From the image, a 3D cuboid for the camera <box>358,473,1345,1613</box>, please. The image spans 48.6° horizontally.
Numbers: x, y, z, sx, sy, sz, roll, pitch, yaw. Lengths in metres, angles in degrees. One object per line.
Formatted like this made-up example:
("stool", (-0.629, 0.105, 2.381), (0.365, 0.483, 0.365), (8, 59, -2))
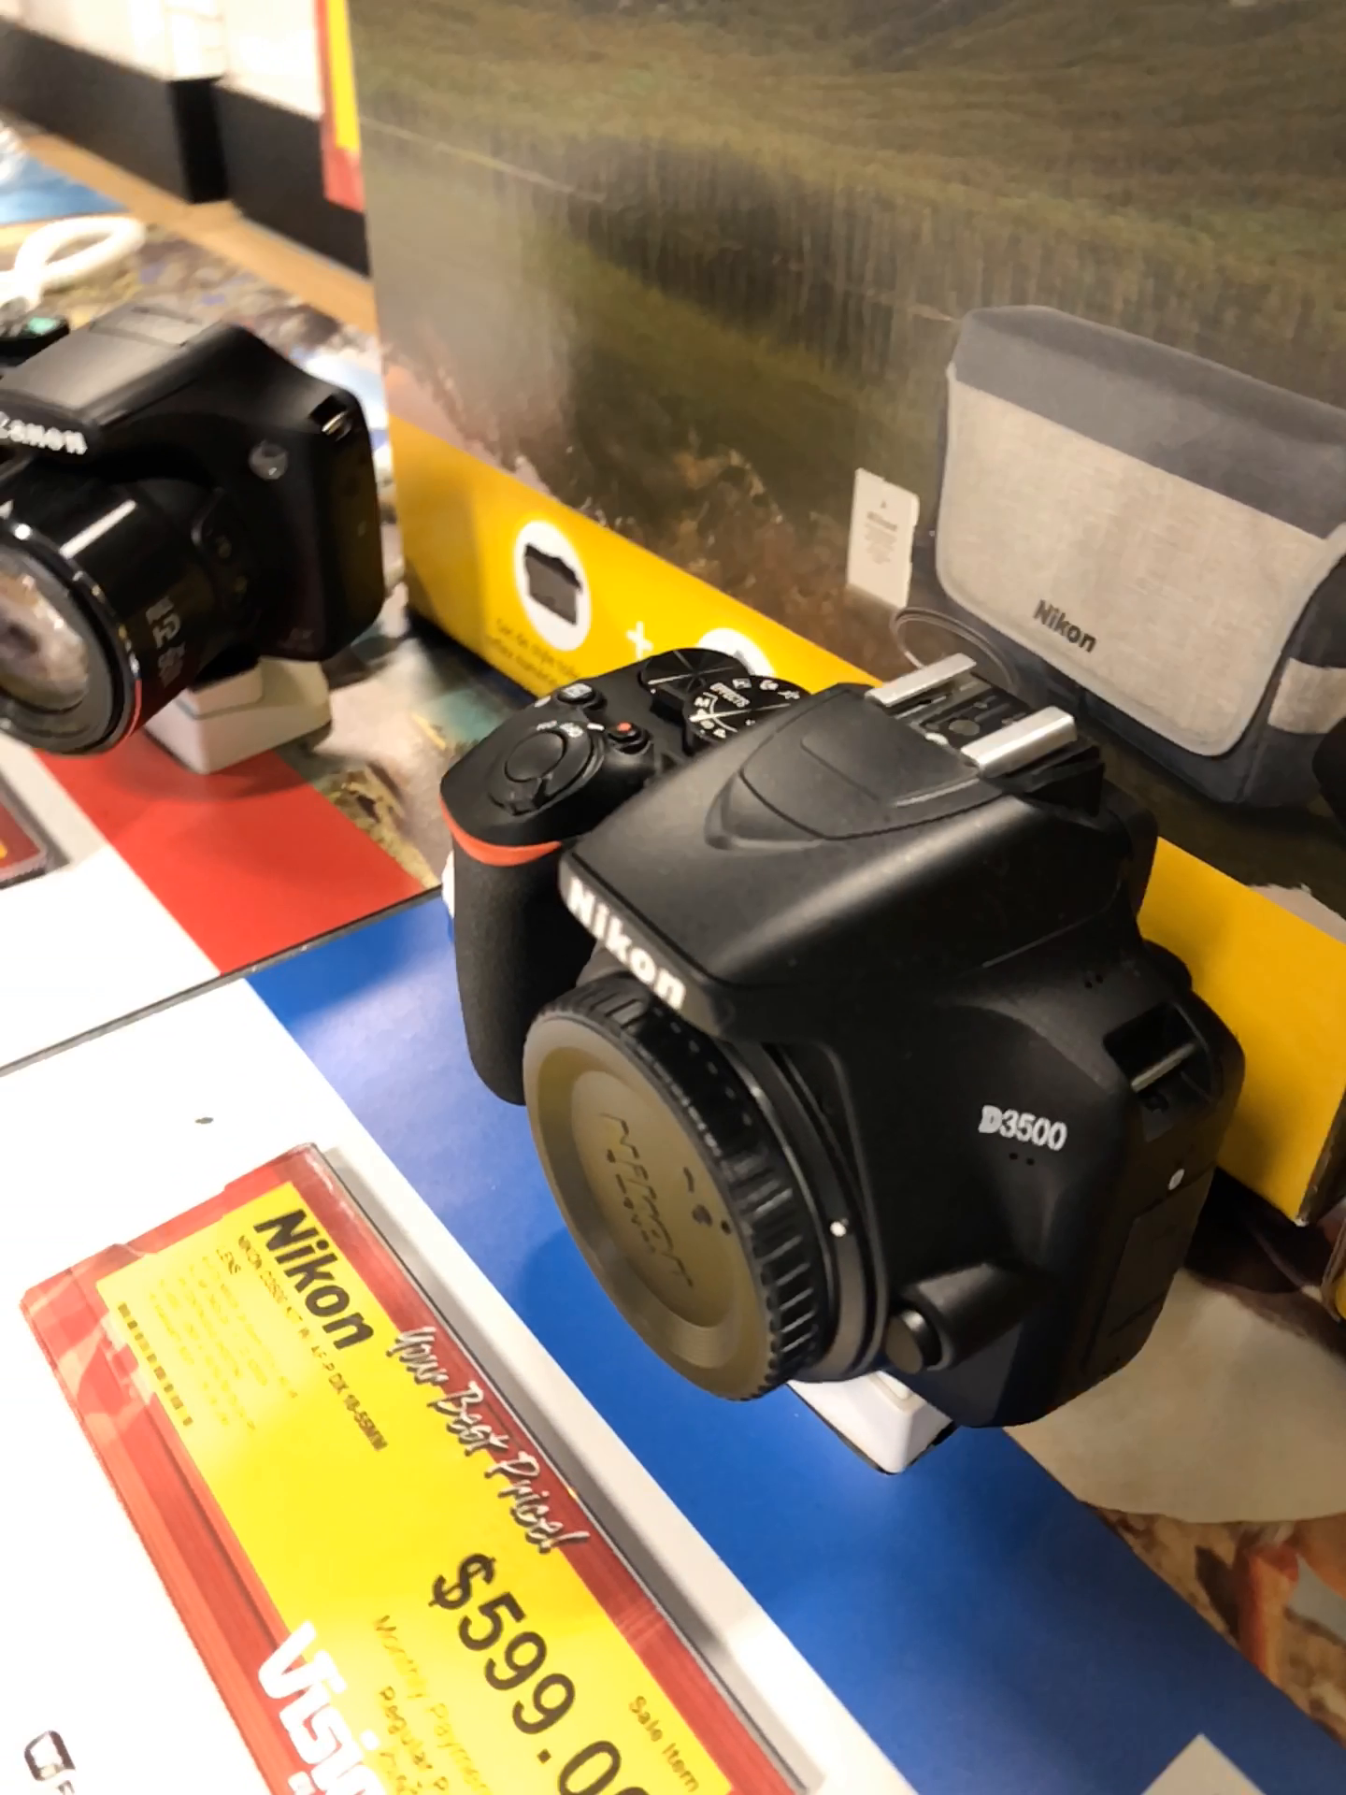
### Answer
("camera", (0.021, 0.011, 0.226), (0.080, 0.099, 0.121), (-23, 43, -28))
